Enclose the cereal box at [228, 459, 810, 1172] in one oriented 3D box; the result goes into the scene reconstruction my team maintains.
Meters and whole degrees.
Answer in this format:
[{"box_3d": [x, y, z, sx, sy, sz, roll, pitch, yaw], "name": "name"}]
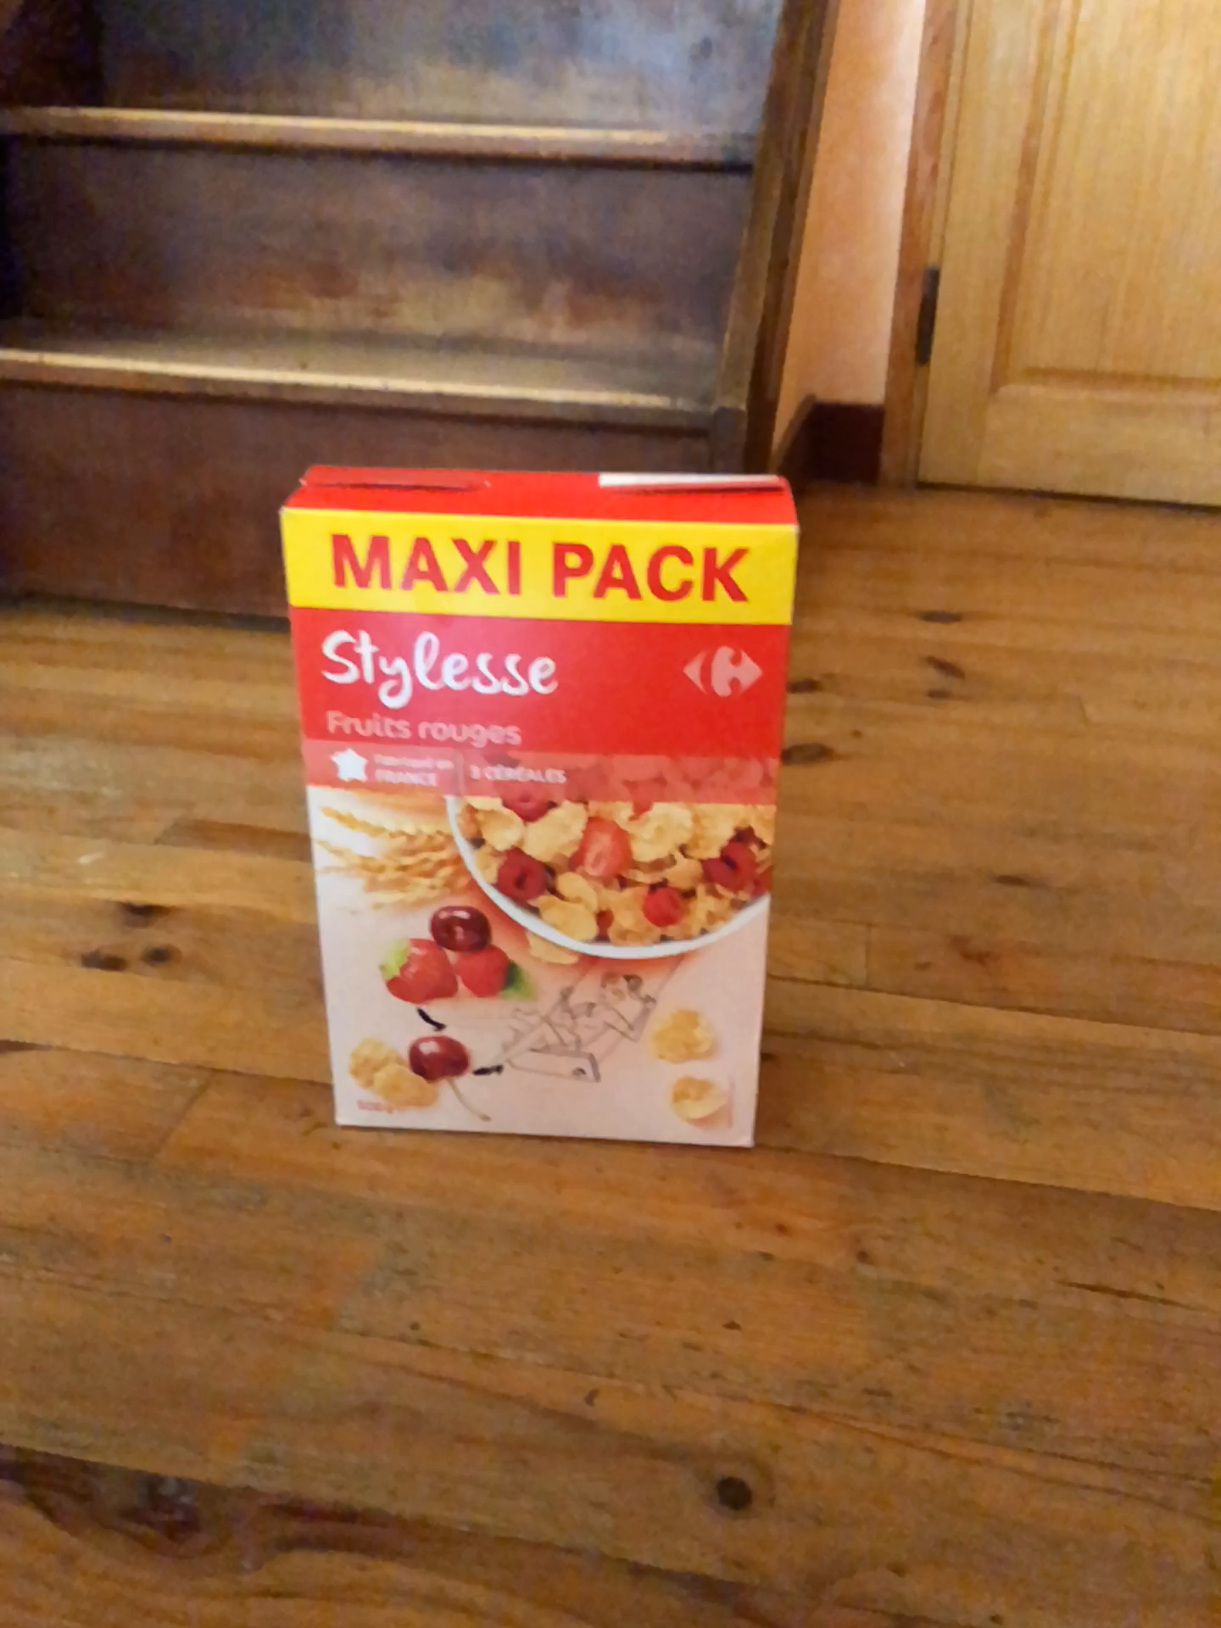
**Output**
[{"box_3d": [-0.035, 0.005, 0.585, 0.210, 0.288, 0.091, 3, 25, 2], "name": "cereal box"}]
